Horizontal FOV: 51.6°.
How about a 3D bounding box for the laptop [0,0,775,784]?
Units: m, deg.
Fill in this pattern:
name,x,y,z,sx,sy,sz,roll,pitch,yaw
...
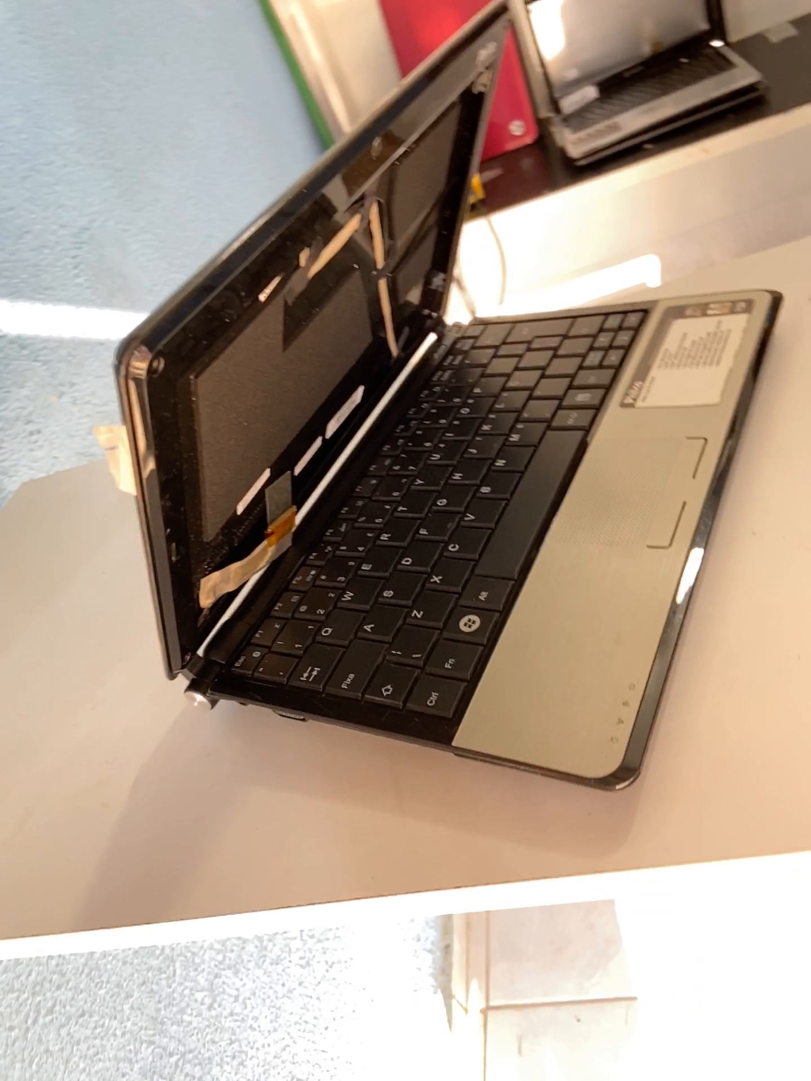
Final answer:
name,x,y,z,sx,sy,sz,roll,pitch,yaw
laptop,0.017,-0.083,0.330,0.177,0.144,0.276,3,46,33
